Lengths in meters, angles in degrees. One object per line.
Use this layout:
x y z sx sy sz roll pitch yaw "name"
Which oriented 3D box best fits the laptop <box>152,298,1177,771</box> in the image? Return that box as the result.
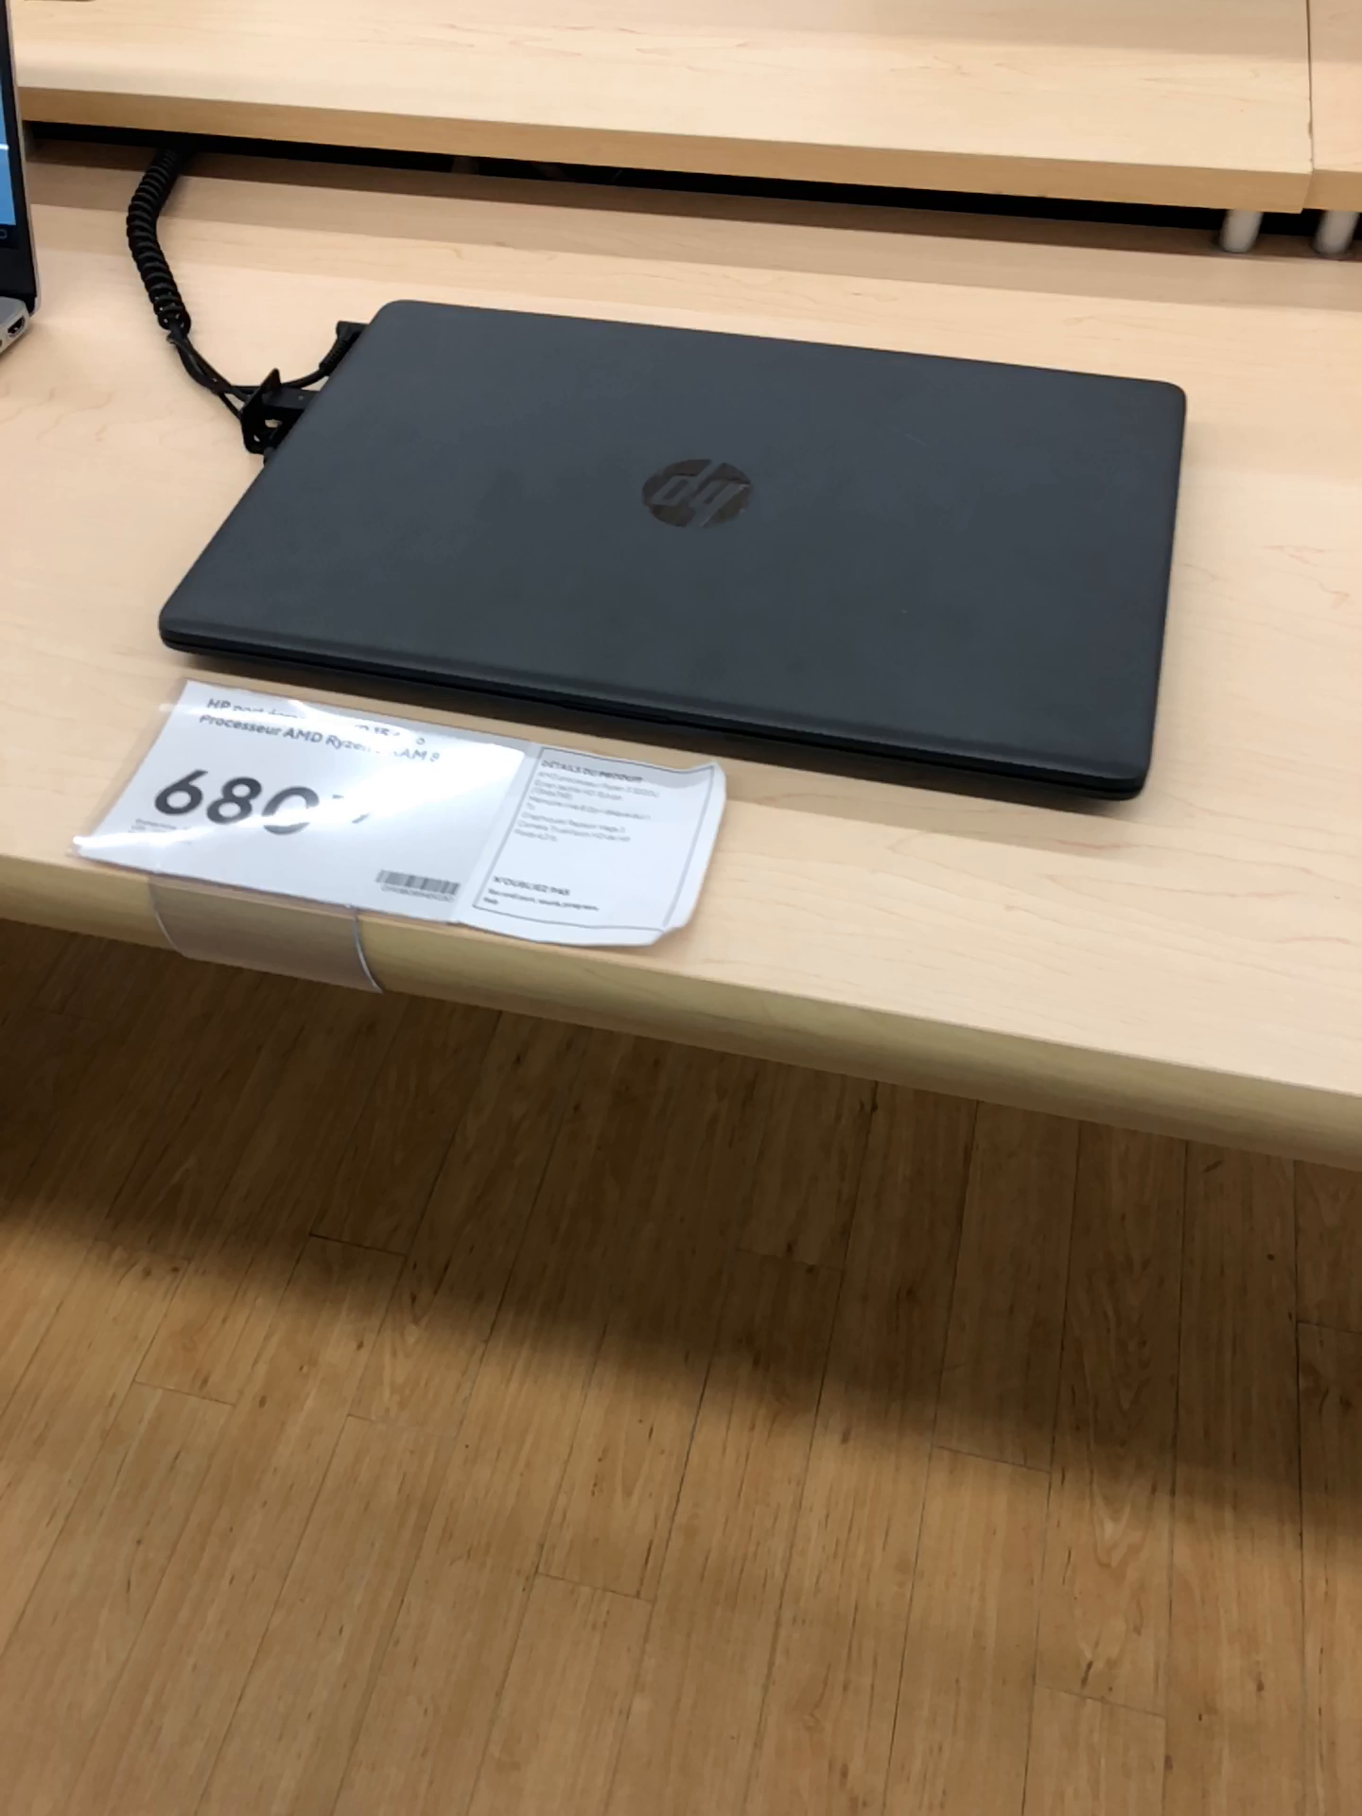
0.007 -0.173 0.625 0.374 0.005 0.245 10 51 11 "laptop"
